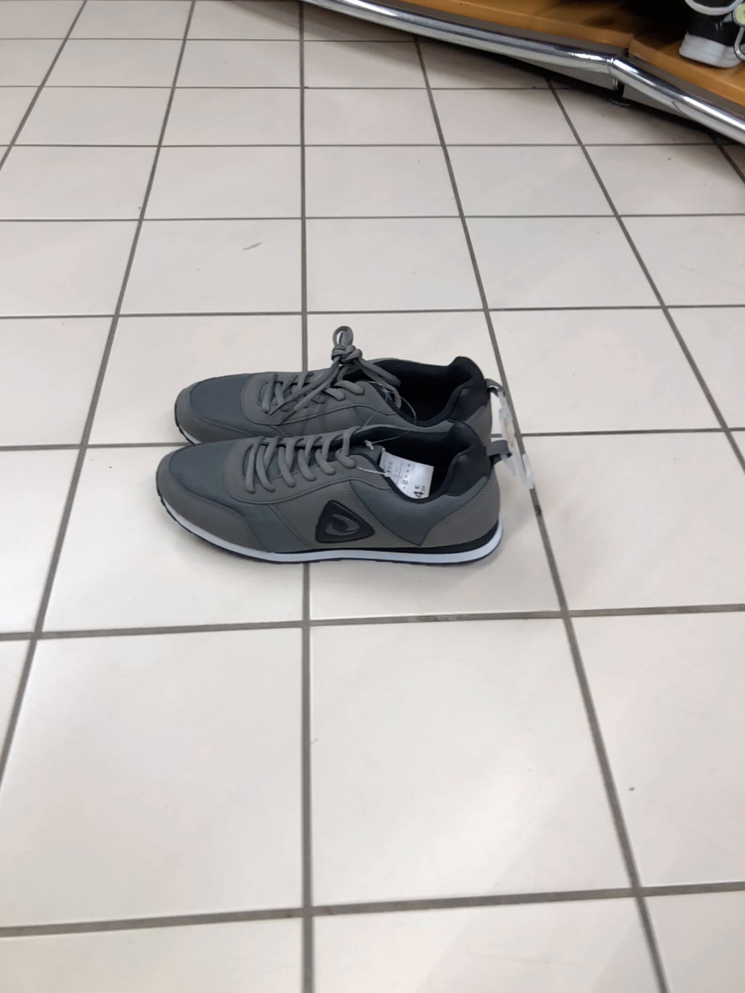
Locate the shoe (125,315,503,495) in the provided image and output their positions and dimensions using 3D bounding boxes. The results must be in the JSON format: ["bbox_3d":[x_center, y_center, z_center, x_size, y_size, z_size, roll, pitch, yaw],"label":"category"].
[{"bbox_3d":[-0.044,-0.078,0.698,0.290,0.099,0.101,2,47,0],"label":"shoe"}]

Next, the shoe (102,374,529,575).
[{"bbox_3d":[-0.038,-0.016,0.625,0.290,0.099,0.101,2,47,0],"label":"shoe"}]
